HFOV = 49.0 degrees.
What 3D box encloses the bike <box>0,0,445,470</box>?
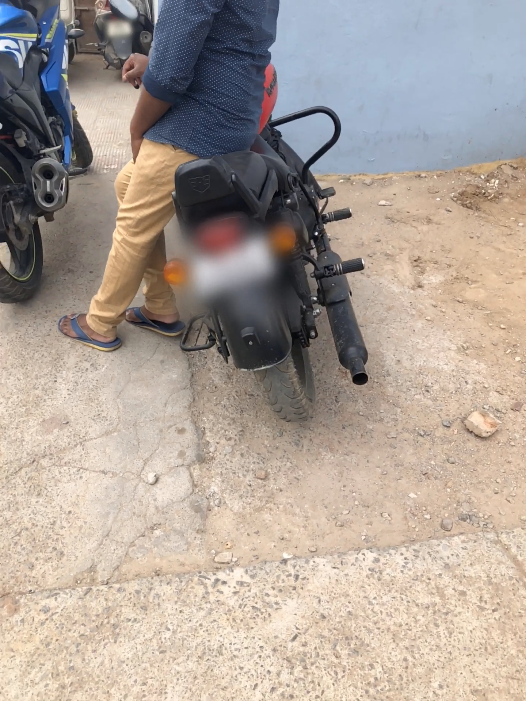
[{"bbox_3d":[-0.178,-0.734,1.855,0.777,1.245,1.547,1,40,-8],"label":"bike"}]
